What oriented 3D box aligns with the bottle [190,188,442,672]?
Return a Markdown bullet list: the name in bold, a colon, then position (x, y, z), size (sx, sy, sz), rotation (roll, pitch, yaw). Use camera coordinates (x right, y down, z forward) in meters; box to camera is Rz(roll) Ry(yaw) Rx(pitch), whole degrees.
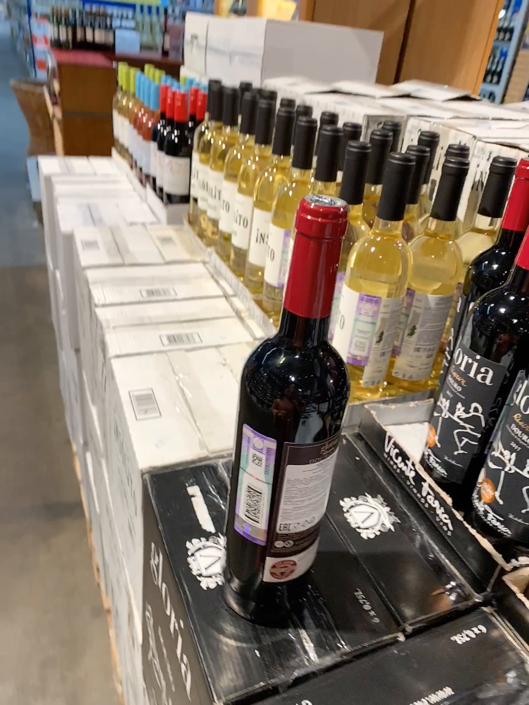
- **bottle**: position (0.014, 0.065, 0.361), size (0.090, 0.318, 0.080), rotation (-14, 37, -31)
